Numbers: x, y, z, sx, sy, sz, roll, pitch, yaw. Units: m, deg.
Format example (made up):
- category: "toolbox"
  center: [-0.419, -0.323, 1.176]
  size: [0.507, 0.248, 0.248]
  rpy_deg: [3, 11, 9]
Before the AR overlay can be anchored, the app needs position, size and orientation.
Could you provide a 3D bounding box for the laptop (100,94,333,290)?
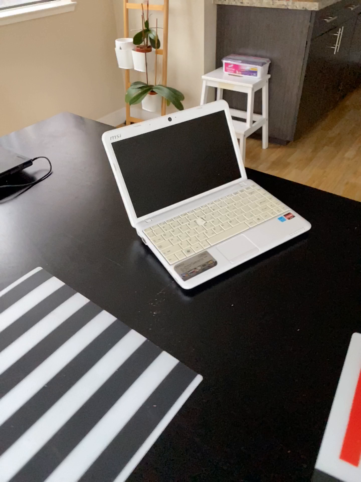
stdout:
- category: "laptop"
  center: [0.056, -0.121, 0.707]
  size: [0.294, 0.153, 0.302]
  rpy_deg: [-24, 48, -23]
